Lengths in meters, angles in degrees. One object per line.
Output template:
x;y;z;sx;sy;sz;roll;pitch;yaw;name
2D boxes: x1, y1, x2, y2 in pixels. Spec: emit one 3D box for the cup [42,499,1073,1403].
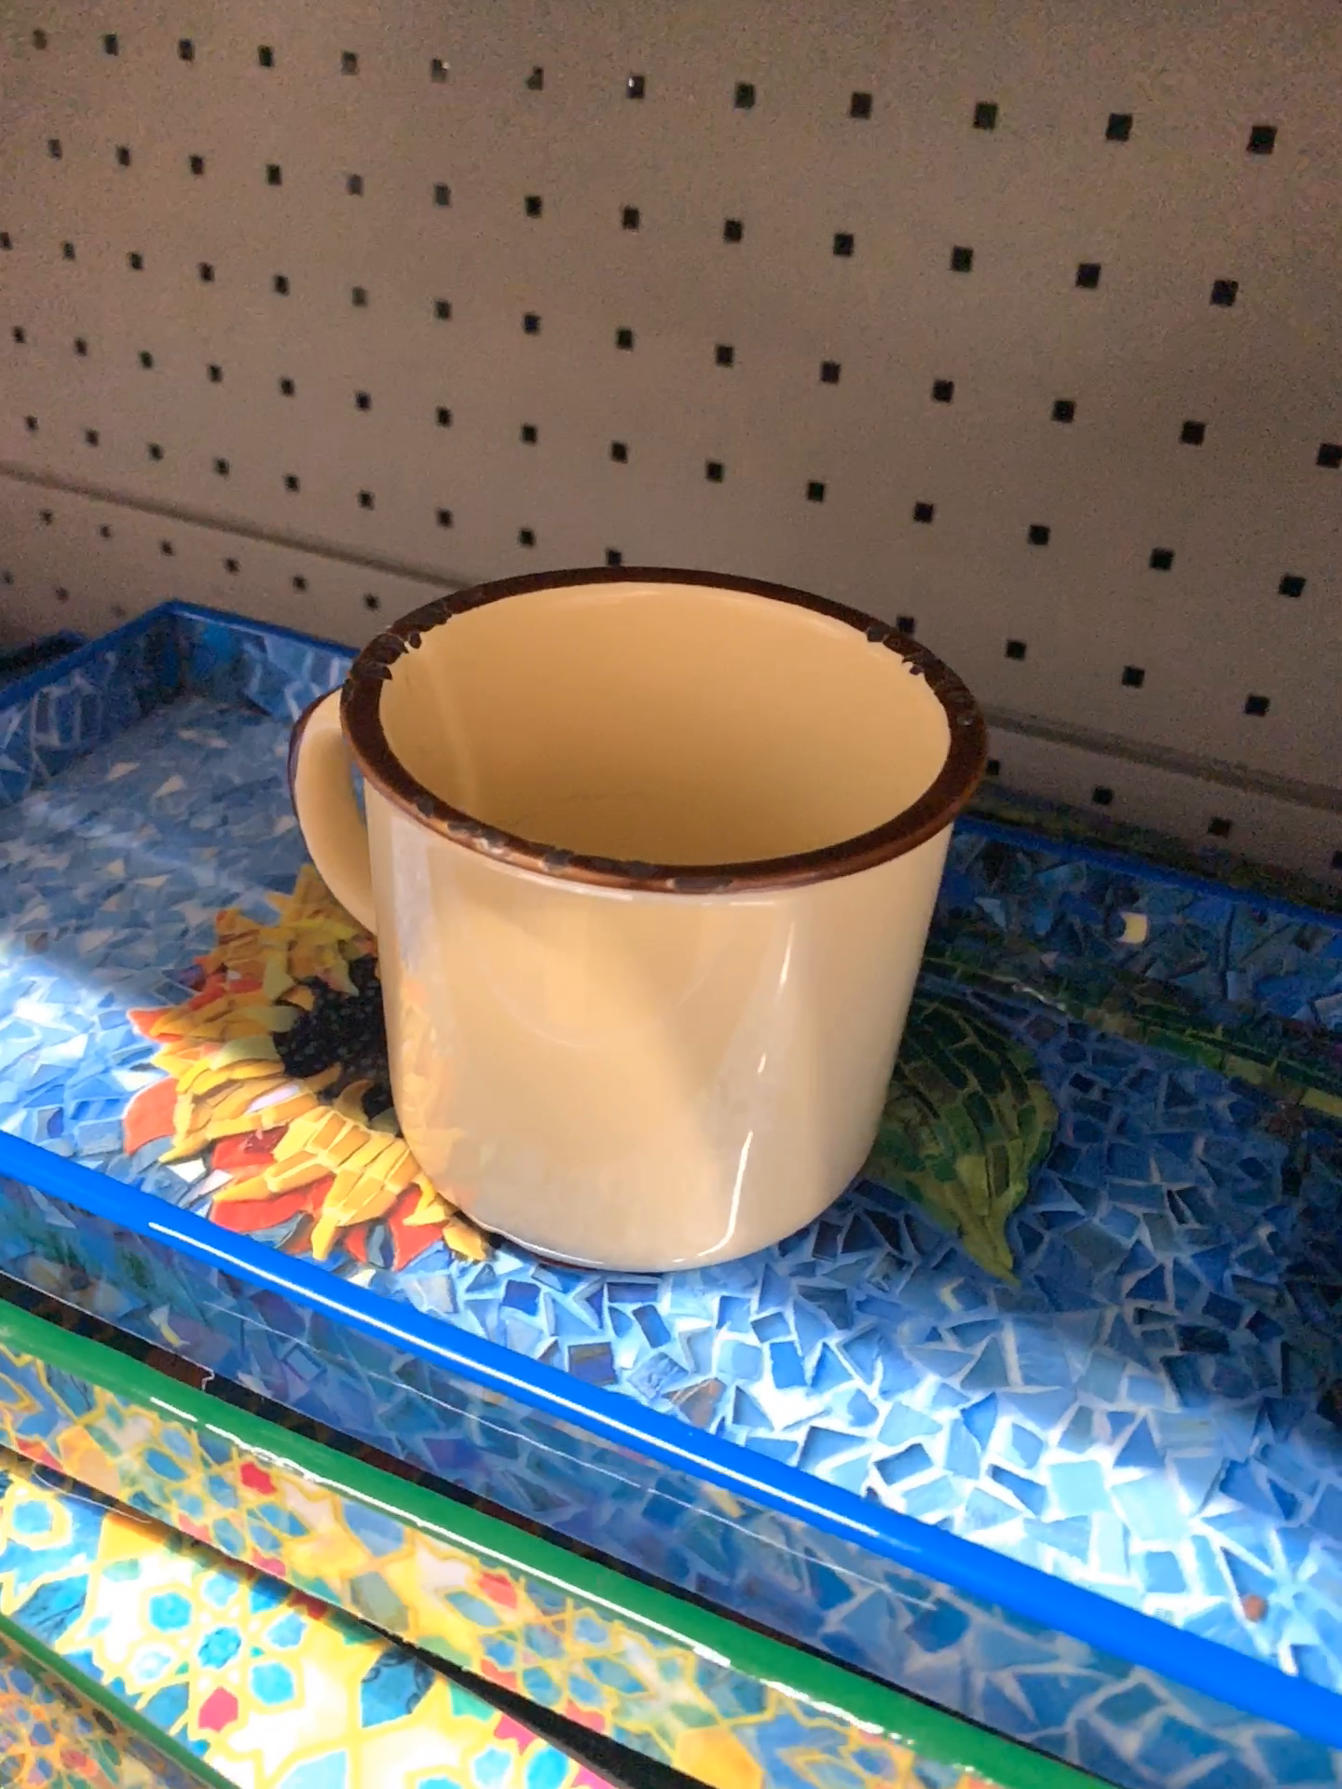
-0.013;-0.003;0.210;0.110;0.070;0.090;19;35;21;cup
